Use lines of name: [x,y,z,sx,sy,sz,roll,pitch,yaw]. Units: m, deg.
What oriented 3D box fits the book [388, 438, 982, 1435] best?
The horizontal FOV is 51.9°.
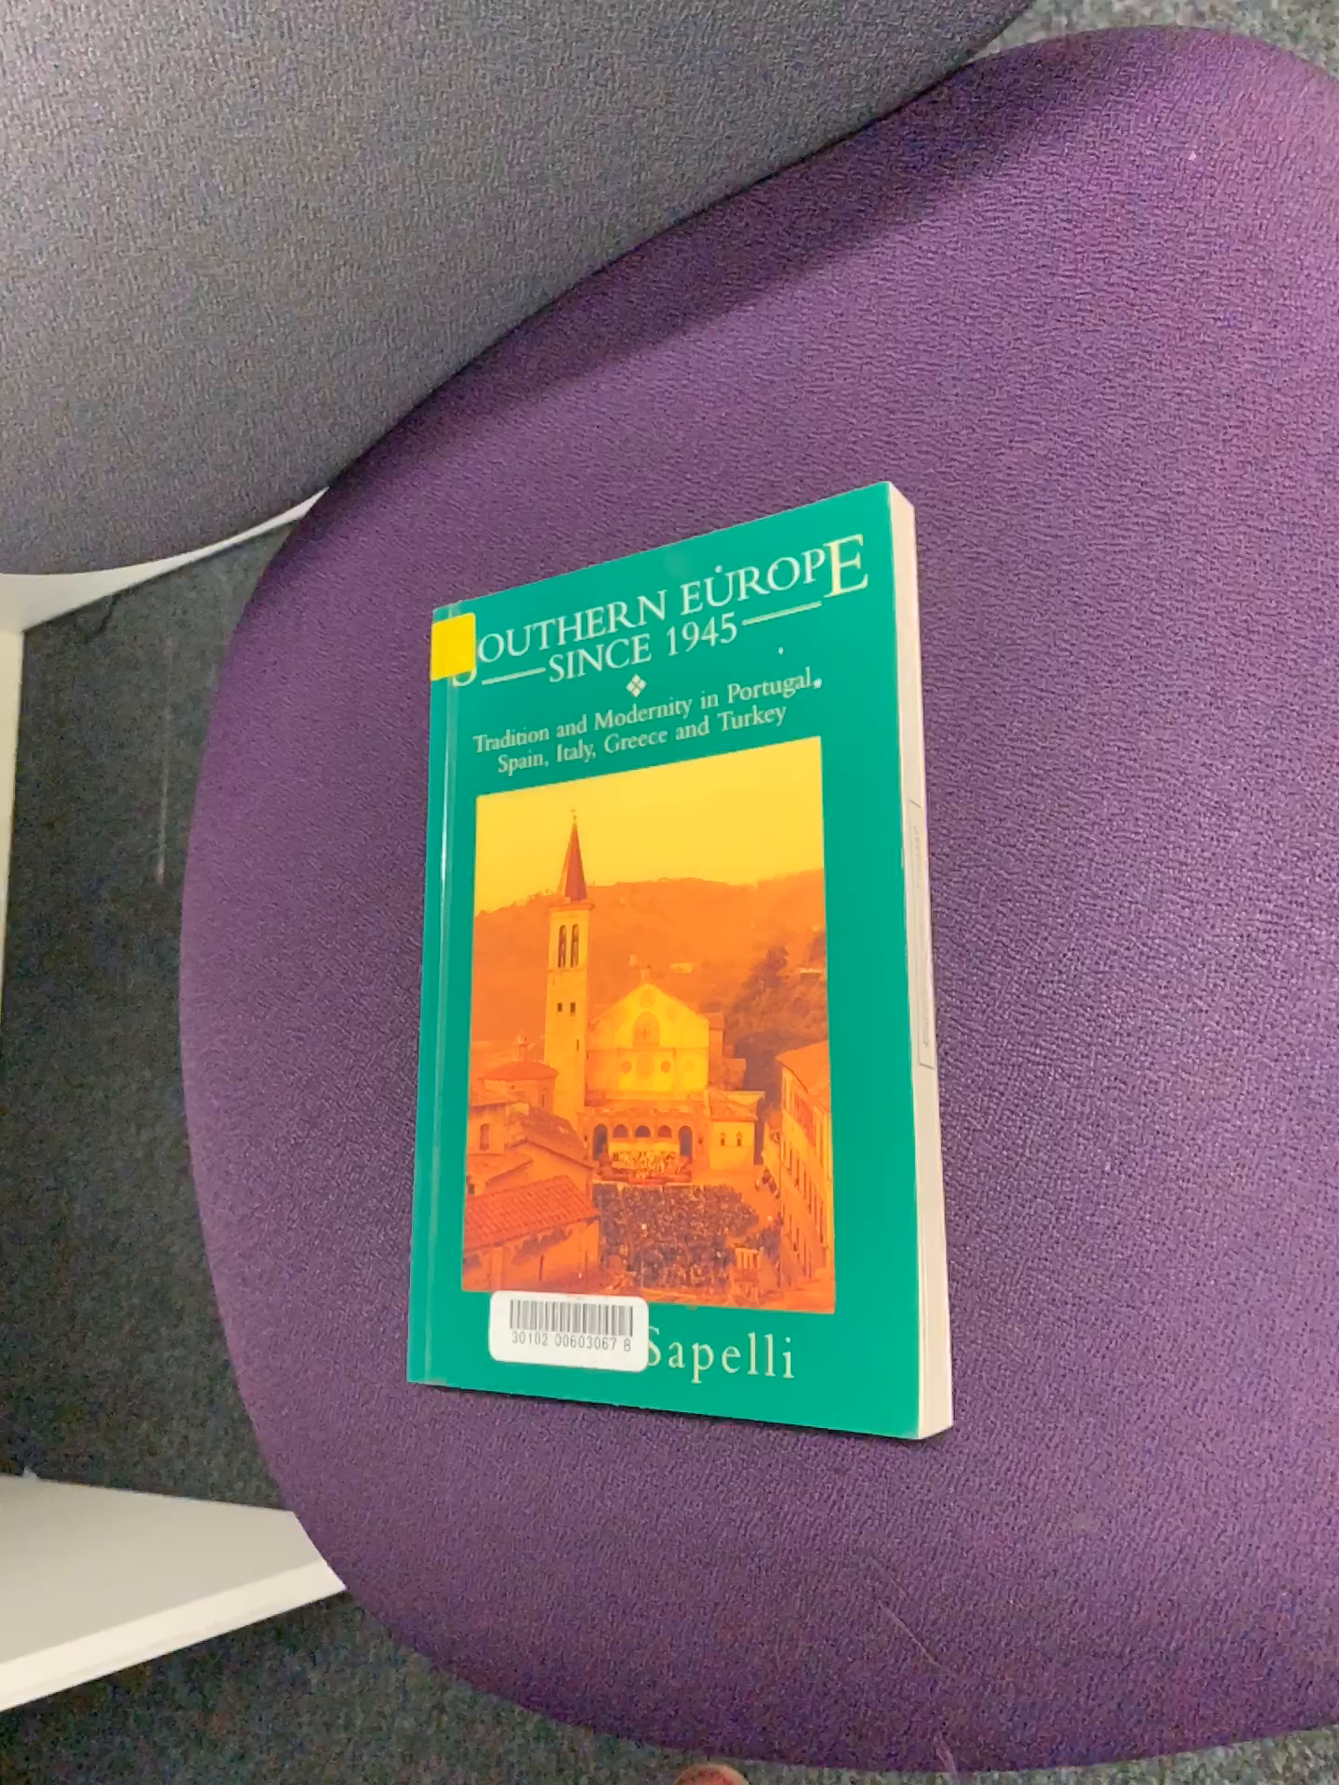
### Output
book: [-0.004,0.011,0.349,0.154,0.020,0.221,-7,77,31]
